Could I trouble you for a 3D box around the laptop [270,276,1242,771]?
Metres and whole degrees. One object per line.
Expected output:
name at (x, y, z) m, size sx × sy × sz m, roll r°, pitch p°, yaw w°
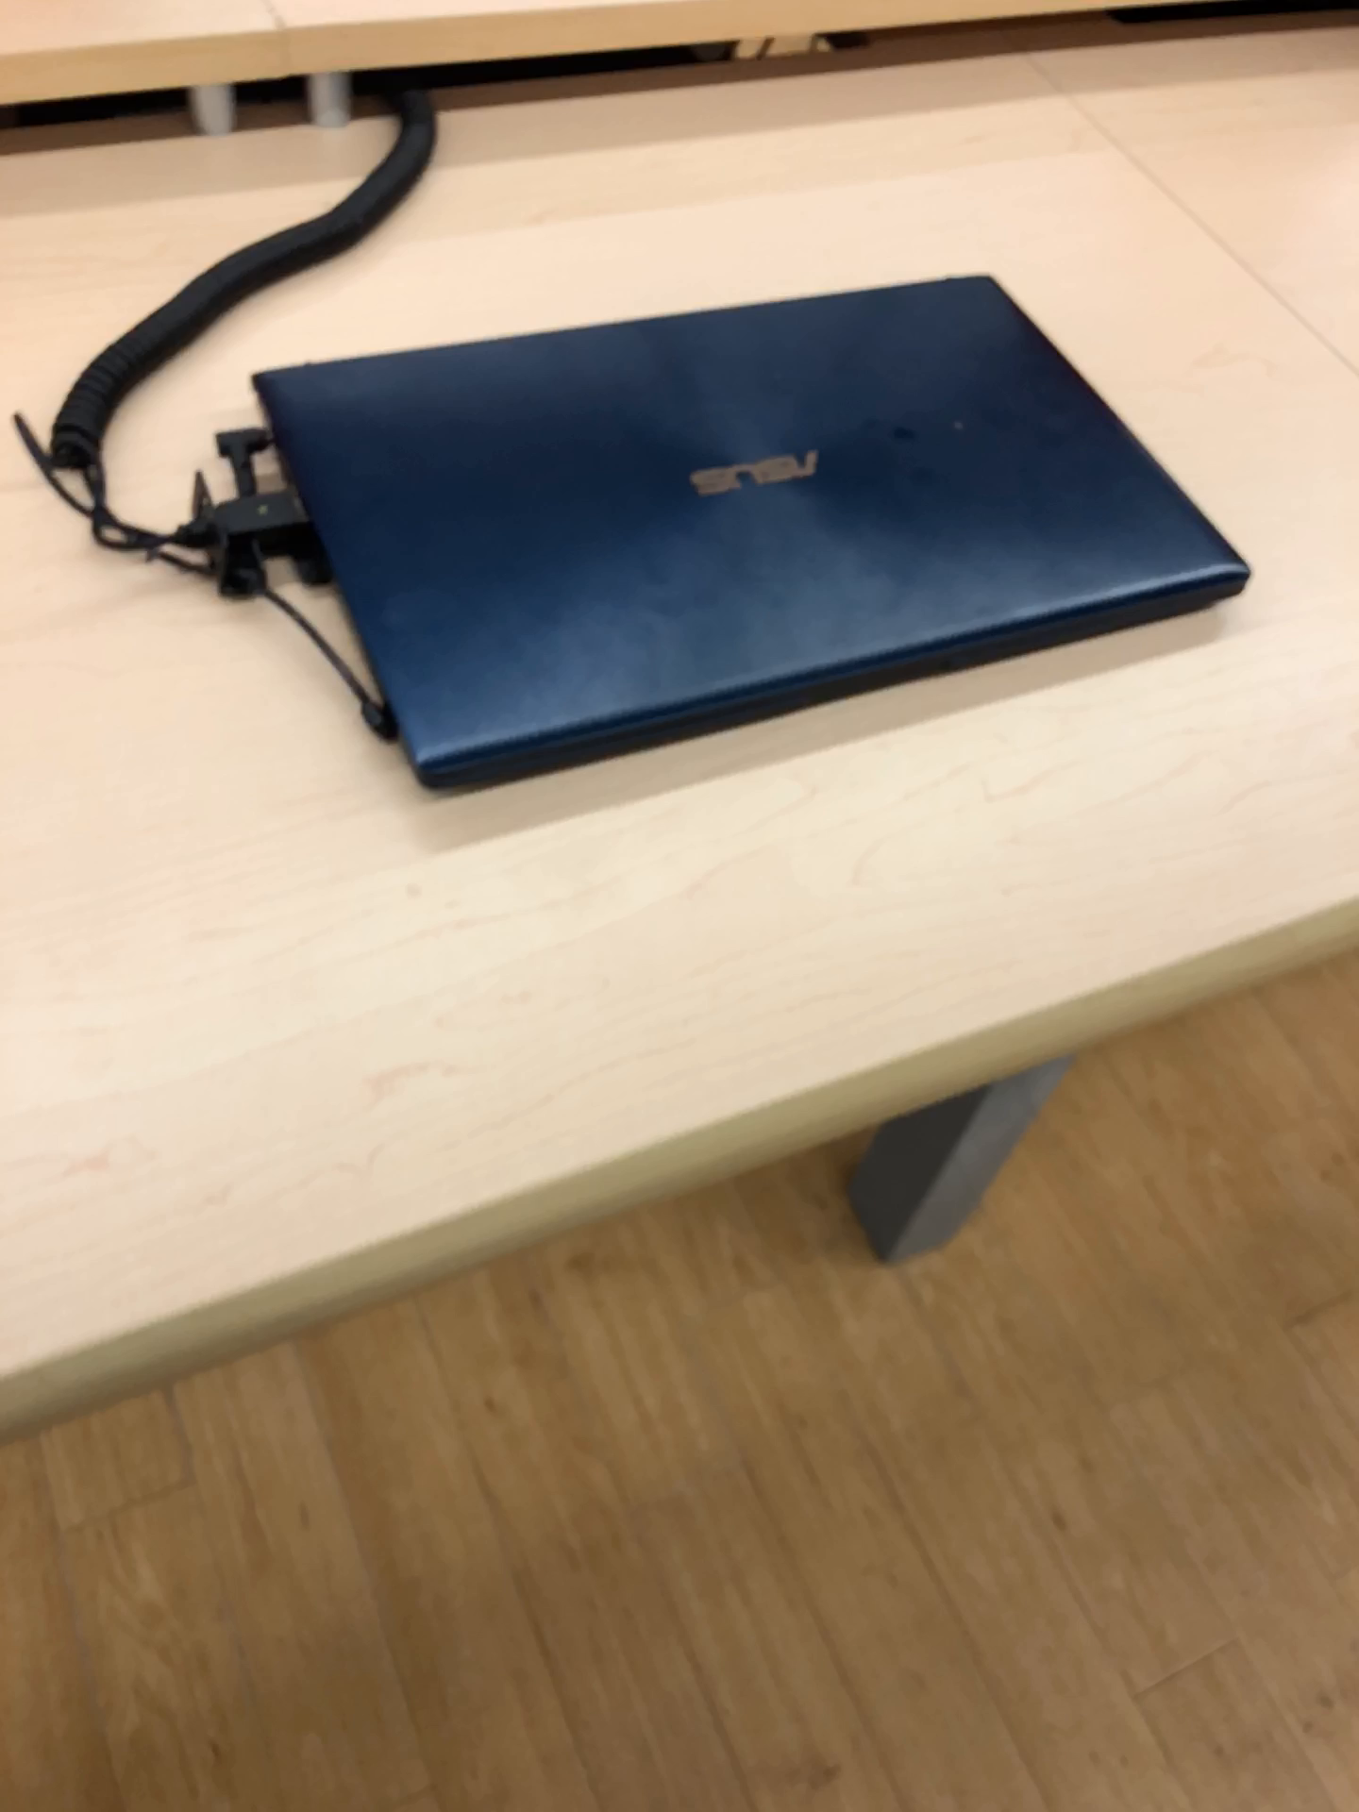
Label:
laptop at (0.028, -0.147, 0.523) m, size 0.295 × 0.001 × 0.178 m, roll -16°, pitch 59°, yaw -19°
